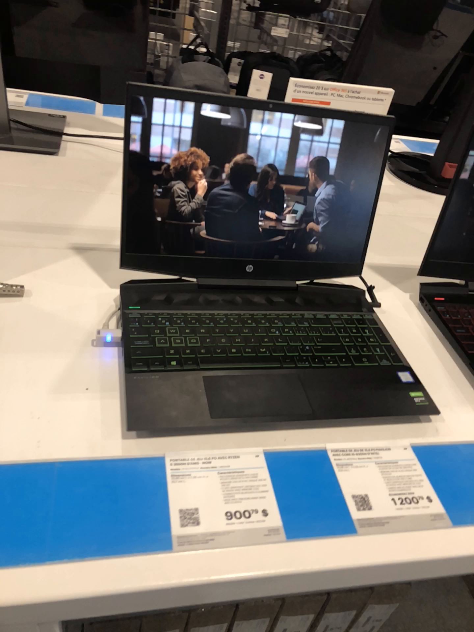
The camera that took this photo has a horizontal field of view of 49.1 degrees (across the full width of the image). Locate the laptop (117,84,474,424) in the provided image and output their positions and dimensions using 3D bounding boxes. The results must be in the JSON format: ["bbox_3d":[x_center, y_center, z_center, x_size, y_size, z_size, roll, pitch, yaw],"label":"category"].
[{"bbox_3d":[0.052,-0.079,0.611,0.355,0.232,0.317,1,37,-17],"label":"laptop"}]
